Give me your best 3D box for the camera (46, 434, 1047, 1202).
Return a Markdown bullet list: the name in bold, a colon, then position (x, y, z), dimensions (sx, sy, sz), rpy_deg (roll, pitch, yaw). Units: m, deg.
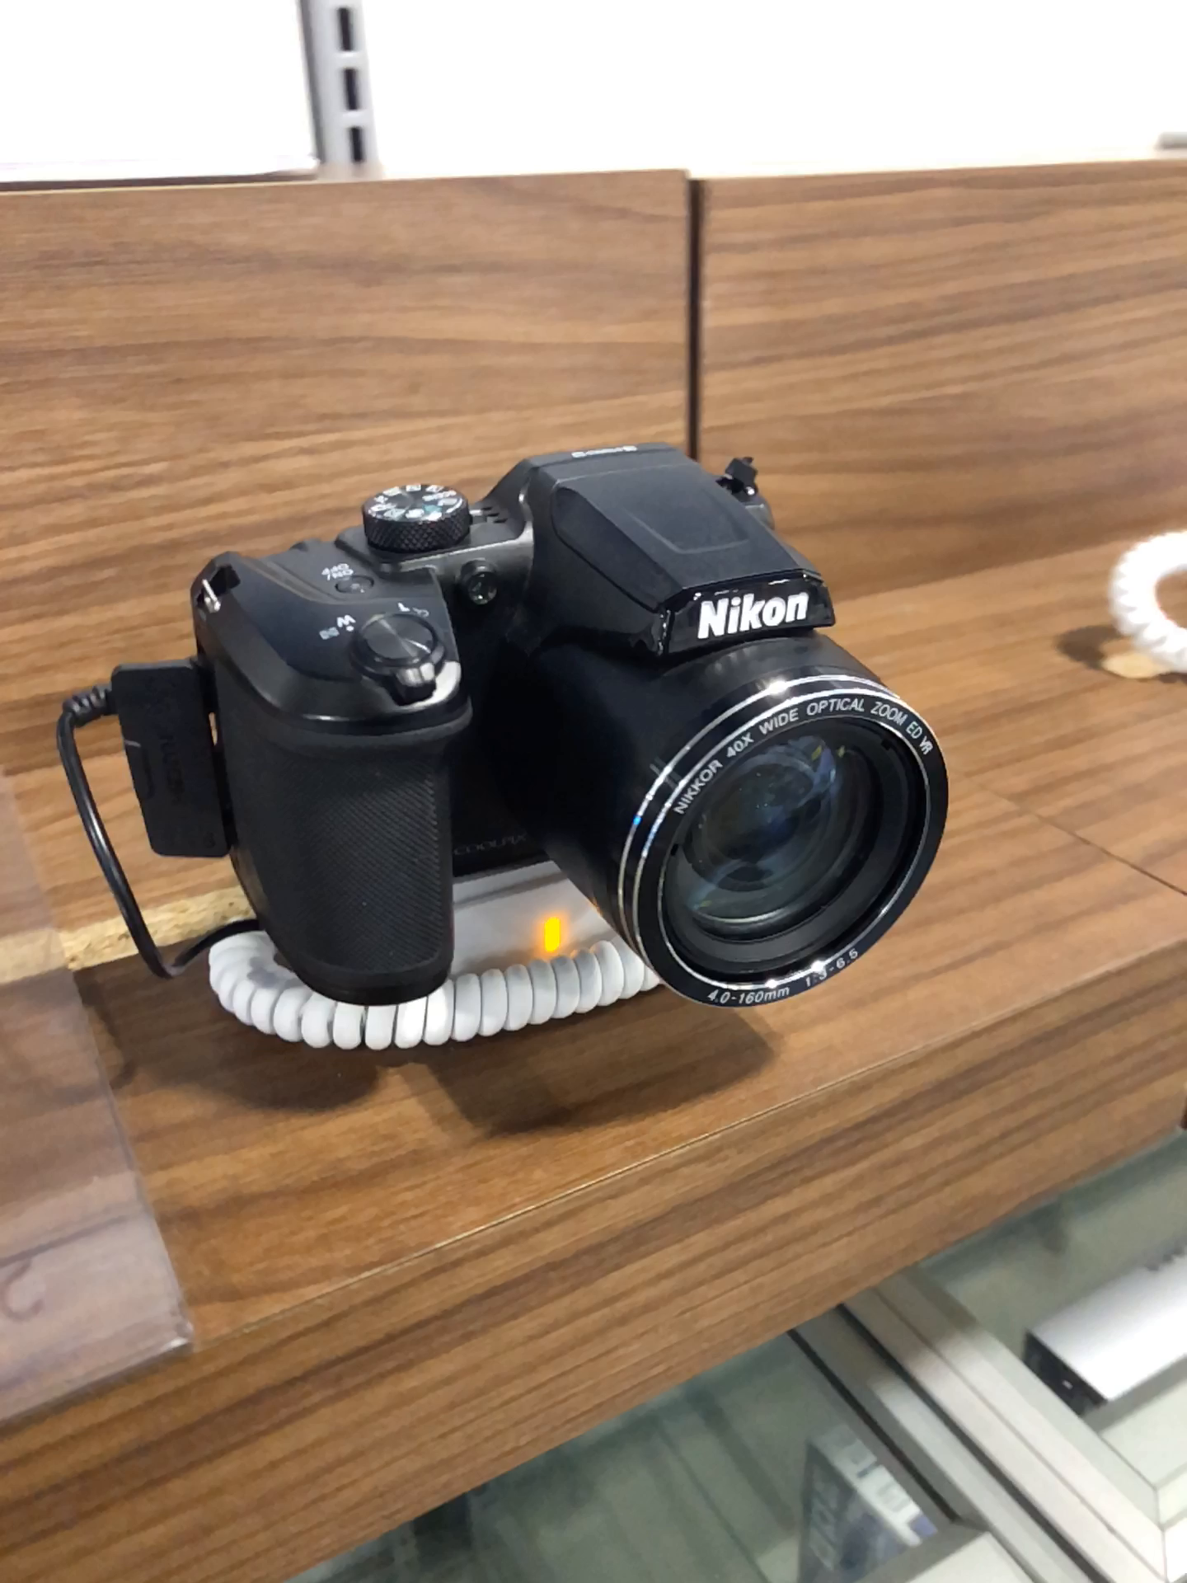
- **camera**: position (-0.011, -0.011, 0.227), dimensions (0.130, 0.070, 0.101), rpy_deg (-15, 28, -26)
